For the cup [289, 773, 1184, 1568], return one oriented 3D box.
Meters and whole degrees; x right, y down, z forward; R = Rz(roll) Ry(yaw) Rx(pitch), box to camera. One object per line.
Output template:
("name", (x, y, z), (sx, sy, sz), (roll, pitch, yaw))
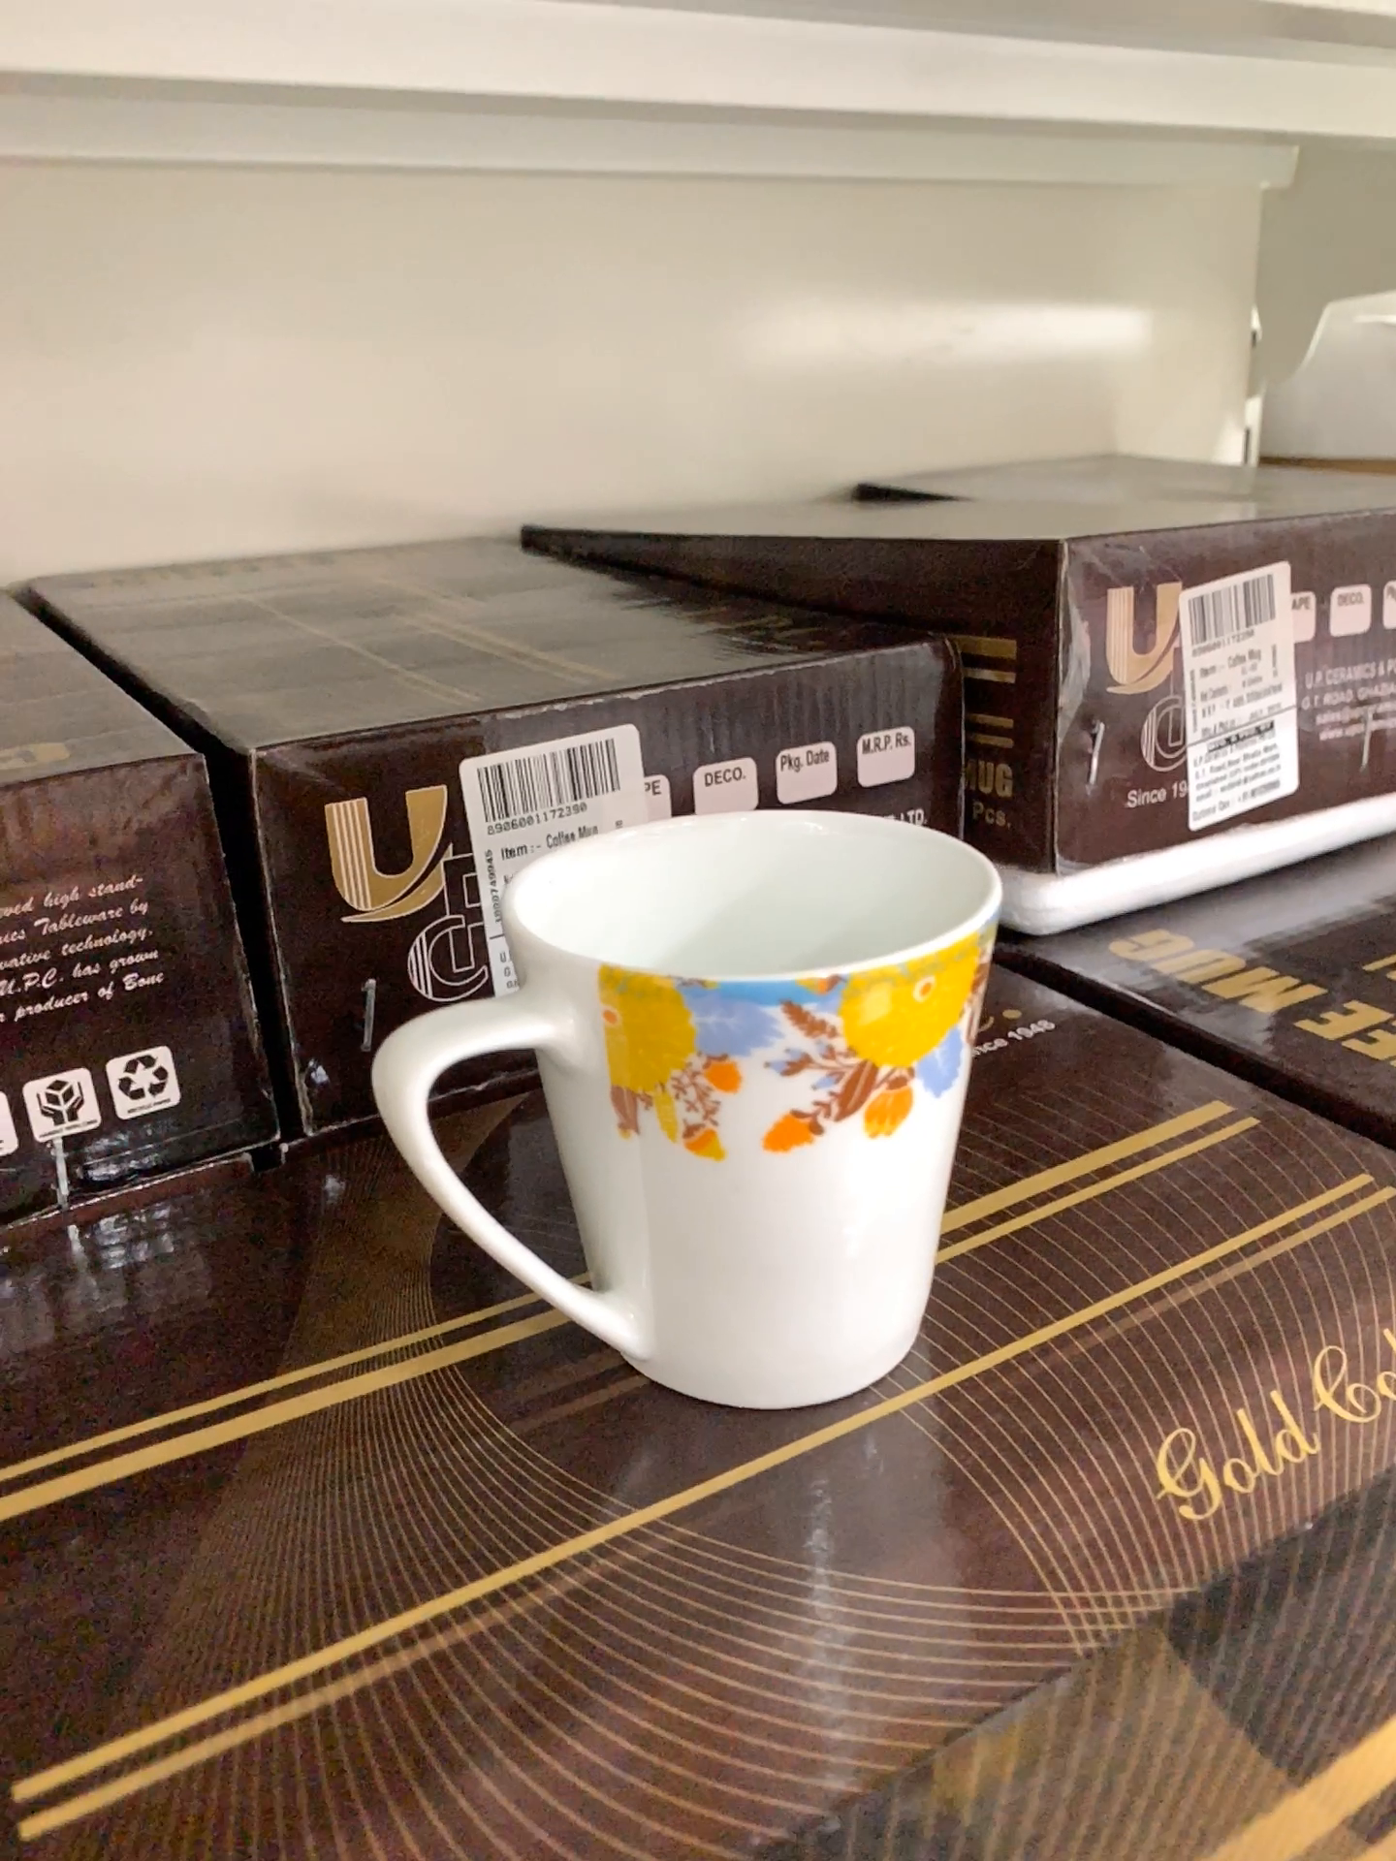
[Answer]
("cup", (0.004, 0.022, 0.195), (0.092, 0.058, 0.068), (-14, 24, -27))
